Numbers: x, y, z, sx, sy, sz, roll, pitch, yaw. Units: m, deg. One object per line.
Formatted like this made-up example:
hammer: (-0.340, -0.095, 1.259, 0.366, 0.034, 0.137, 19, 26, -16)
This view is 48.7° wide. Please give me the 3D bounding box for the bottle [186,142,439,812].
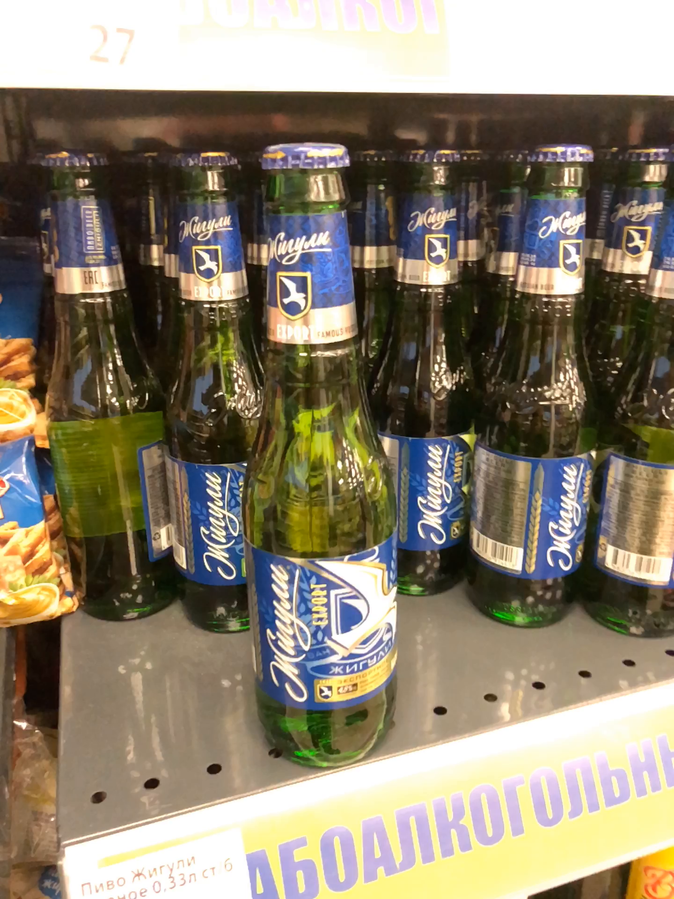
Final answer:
bottle: (-0.010, 0.013, 0.281, 0.063, 0.239, 0.063, 0, 22, 0)
